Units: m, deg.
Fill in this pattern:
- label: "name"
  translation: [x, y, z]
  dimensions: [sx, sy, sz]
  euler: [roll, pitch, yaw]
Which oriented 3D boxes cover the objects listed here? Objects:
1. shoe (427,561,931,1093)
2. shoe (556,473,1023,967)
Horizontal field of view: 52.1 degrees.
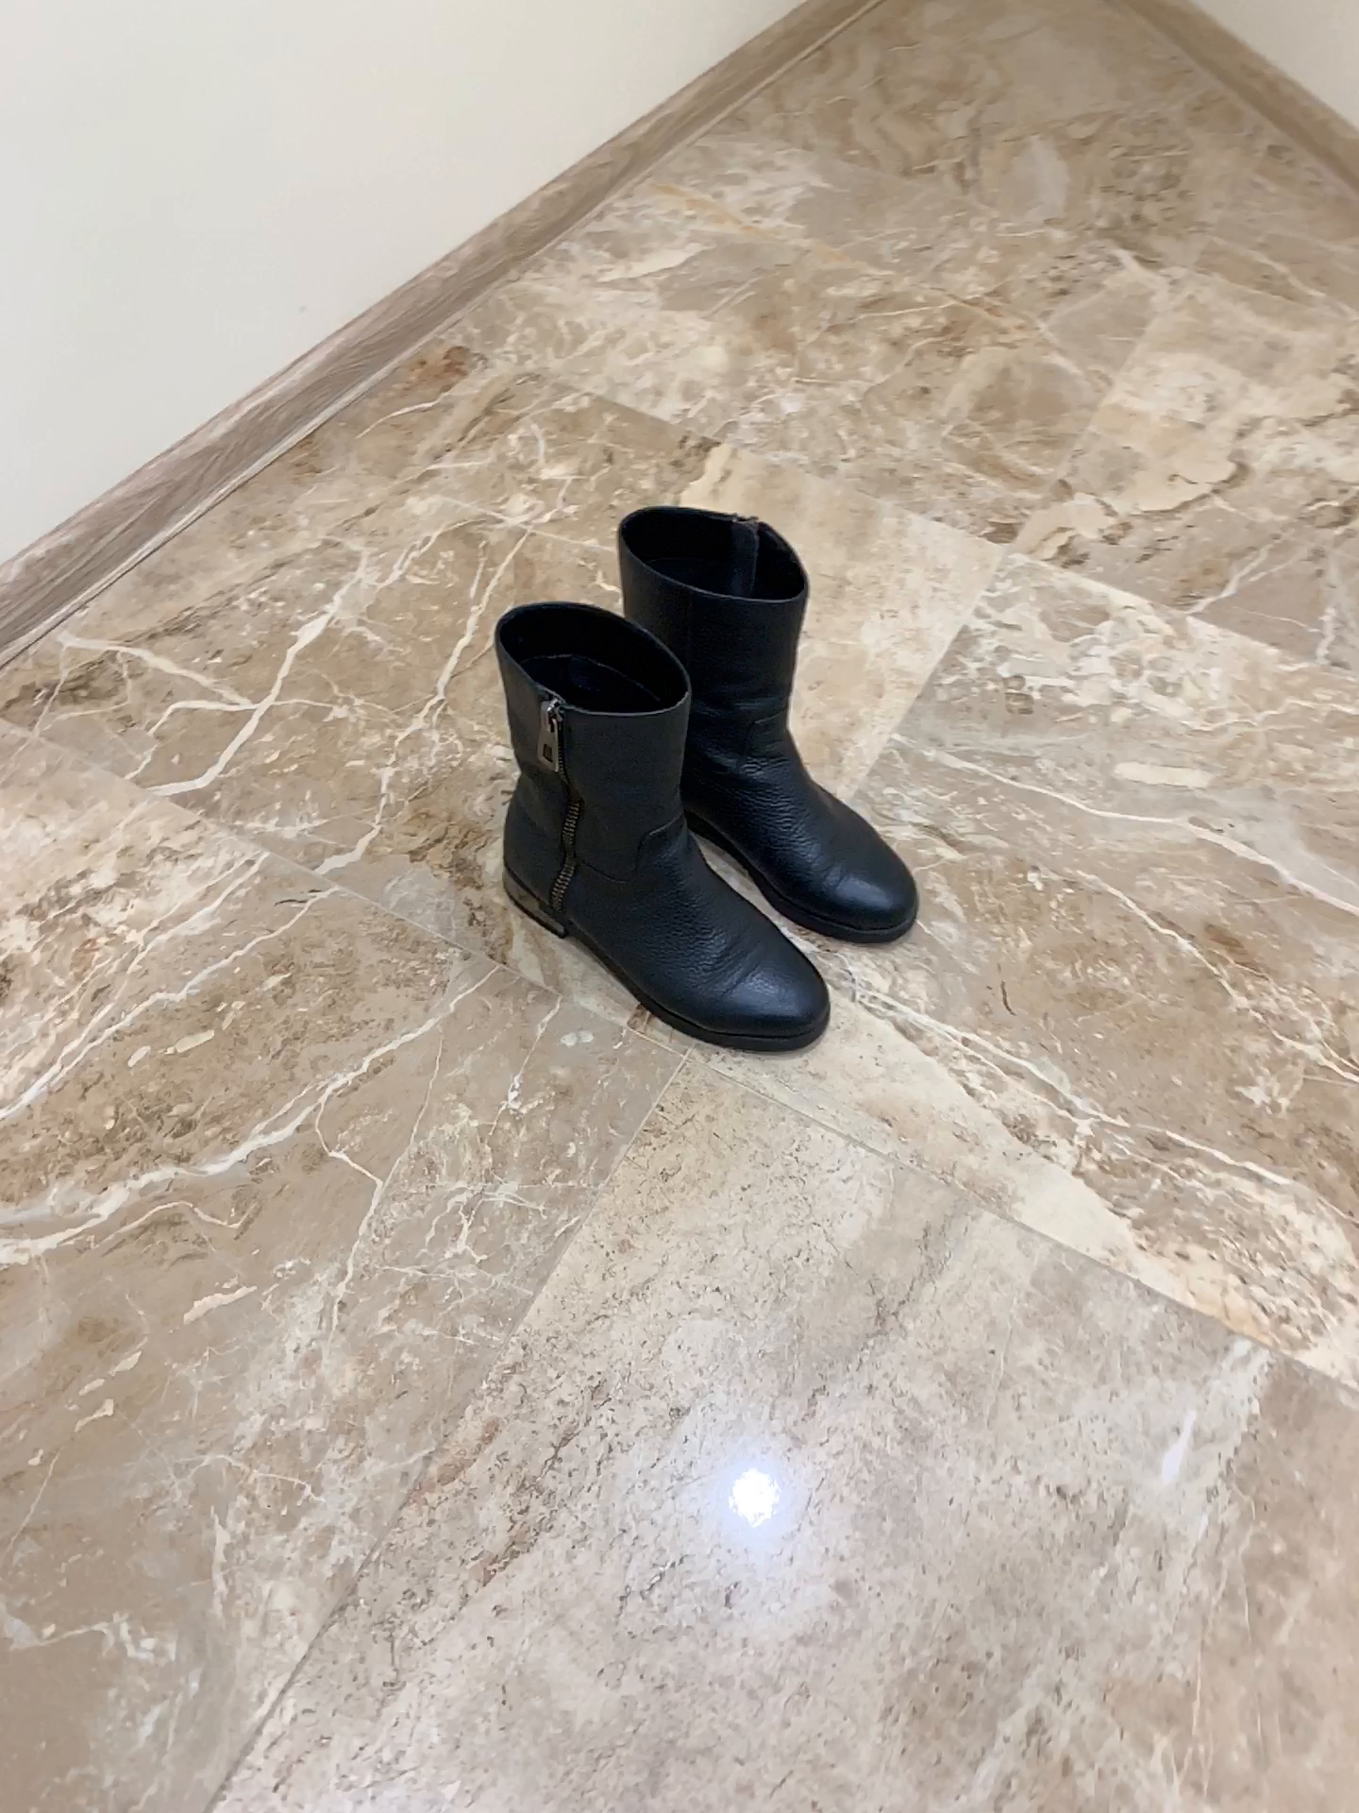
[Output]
- label: "shoe"
  translation: [-0.011, -0.043, 0.814]
  dimensions: [0.260, 0.209, 0.090]
  euler: [29, 54, 17]
- label: "shoe"
  translation: [0.054, -0.116, 0.886]
  dimensions: [0.260, 0.209, 0.090]
  euler: [30, 54, 17]
